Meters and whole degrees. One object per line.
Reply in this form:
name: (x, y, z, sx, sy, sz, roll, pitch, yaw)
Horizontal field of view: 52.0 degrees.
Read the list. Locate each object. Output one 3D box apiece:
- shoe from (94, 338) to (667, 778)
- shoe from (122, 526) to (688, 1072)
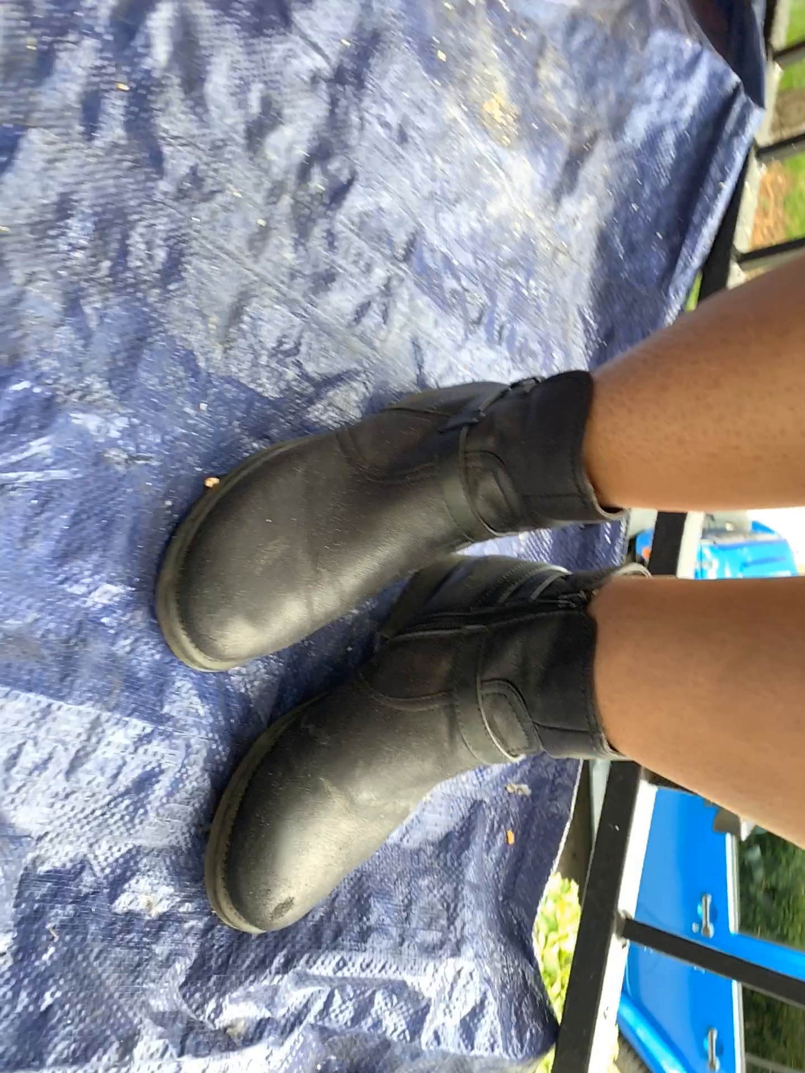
shoe: (0.007, -0.009, 0.443, 0.281, 0.129, 0.100, -32, 111, -39)
shoe: (0.023, 0.107, 0.427, 0.281, 0.109, 0.110, -35, 113, -38)
